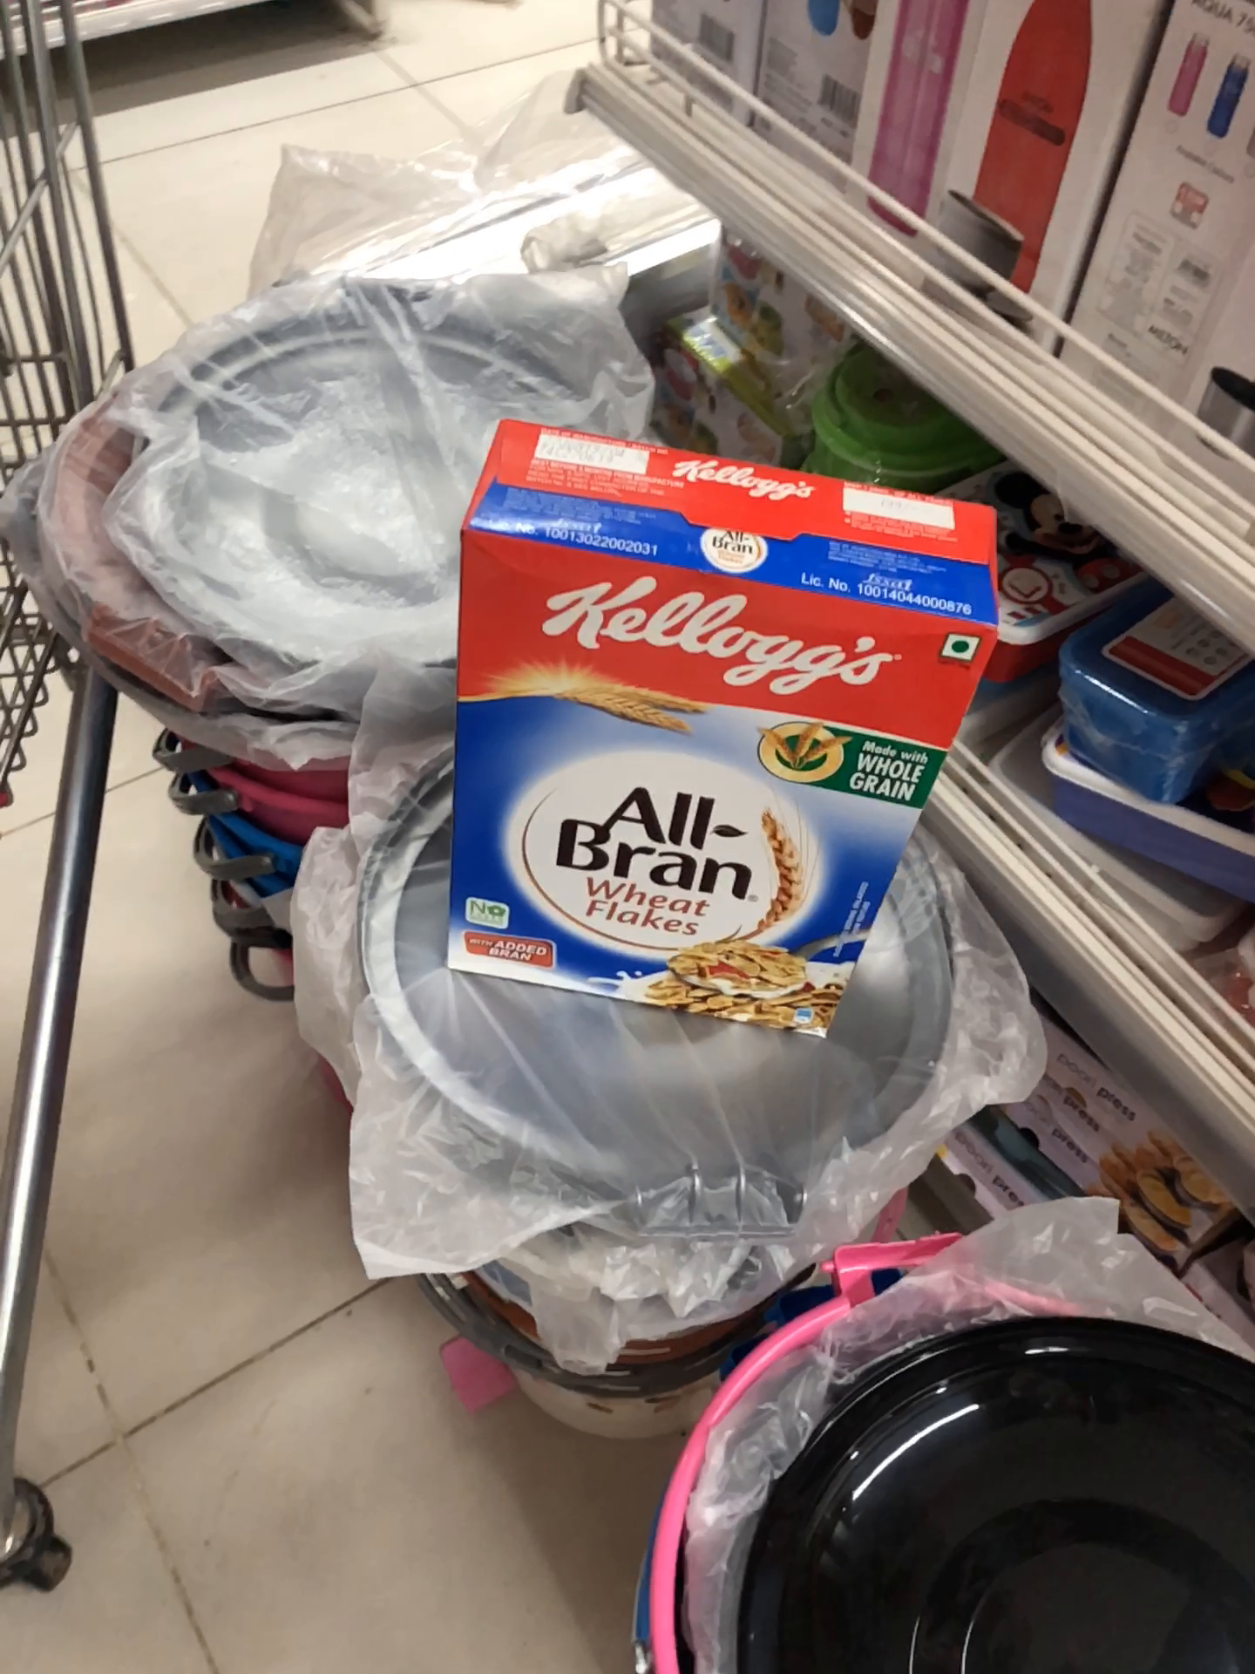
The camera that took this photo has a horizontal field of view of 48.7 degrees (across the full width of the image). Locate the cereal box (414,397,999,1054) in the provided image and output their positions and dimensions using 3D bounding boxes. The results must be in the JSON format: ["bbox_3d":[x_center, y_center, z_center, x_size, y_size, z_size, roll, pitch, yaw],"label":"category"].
[{"bbox_3d":[0.017,-0.027,0.569,0.190,0.269,0.070,10,50,2],"label":"cereal box"}]
